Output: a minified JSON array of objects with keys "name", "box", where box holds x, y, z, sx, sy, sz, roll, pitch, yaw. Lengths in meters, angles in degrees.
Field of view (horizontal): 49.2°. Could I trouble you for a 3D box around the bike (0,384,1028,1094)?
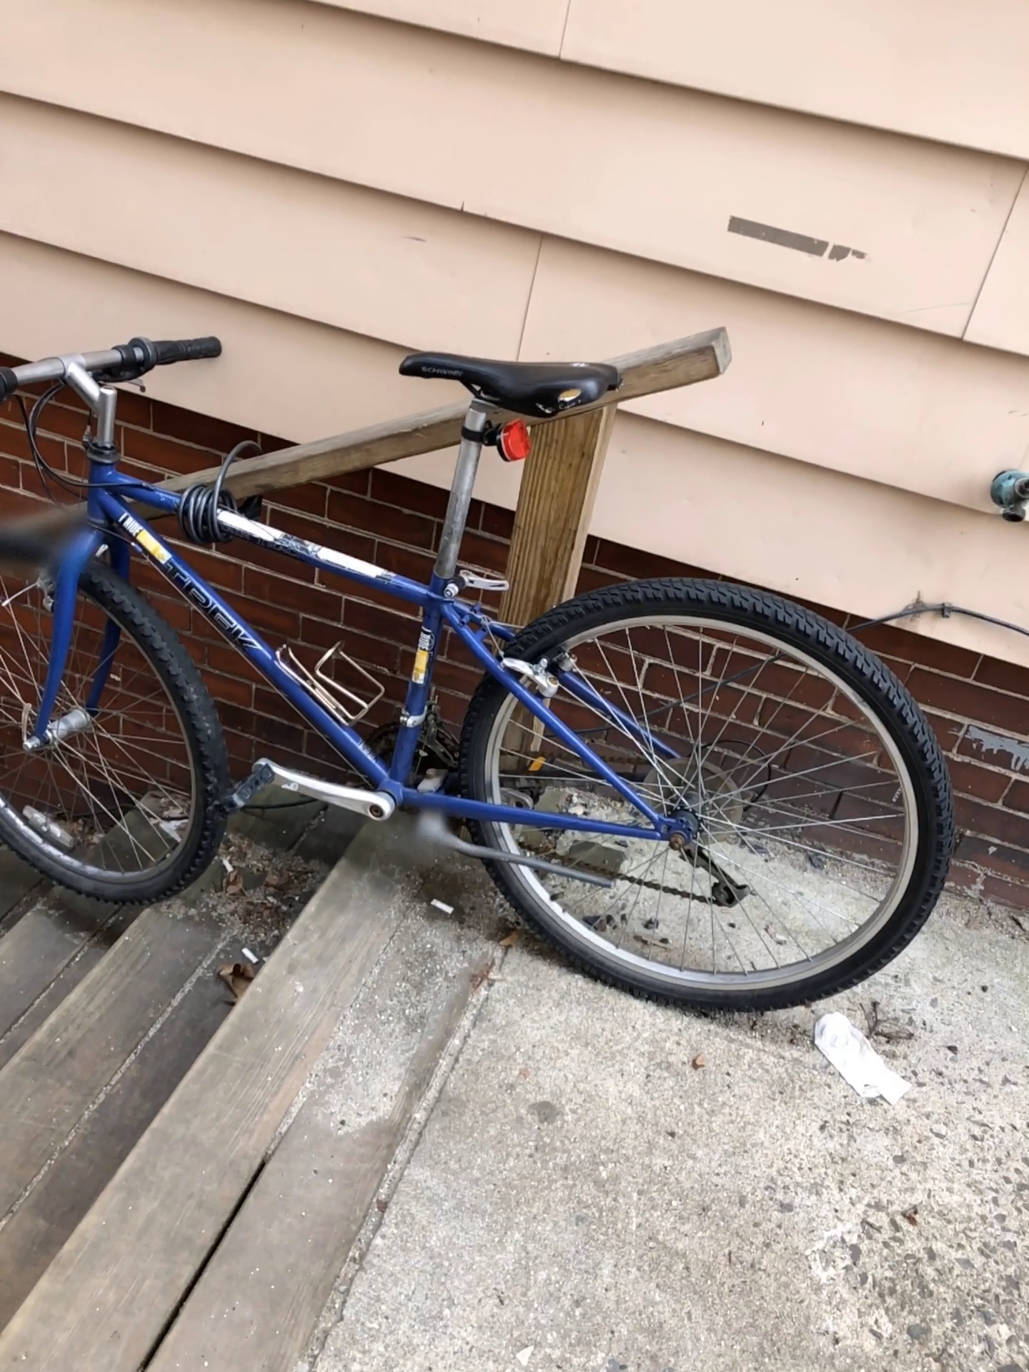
[{"name":"bike","box":[-0.184,-0.014,1.719,1.520,0.619,0.535,11,31,16]}]
